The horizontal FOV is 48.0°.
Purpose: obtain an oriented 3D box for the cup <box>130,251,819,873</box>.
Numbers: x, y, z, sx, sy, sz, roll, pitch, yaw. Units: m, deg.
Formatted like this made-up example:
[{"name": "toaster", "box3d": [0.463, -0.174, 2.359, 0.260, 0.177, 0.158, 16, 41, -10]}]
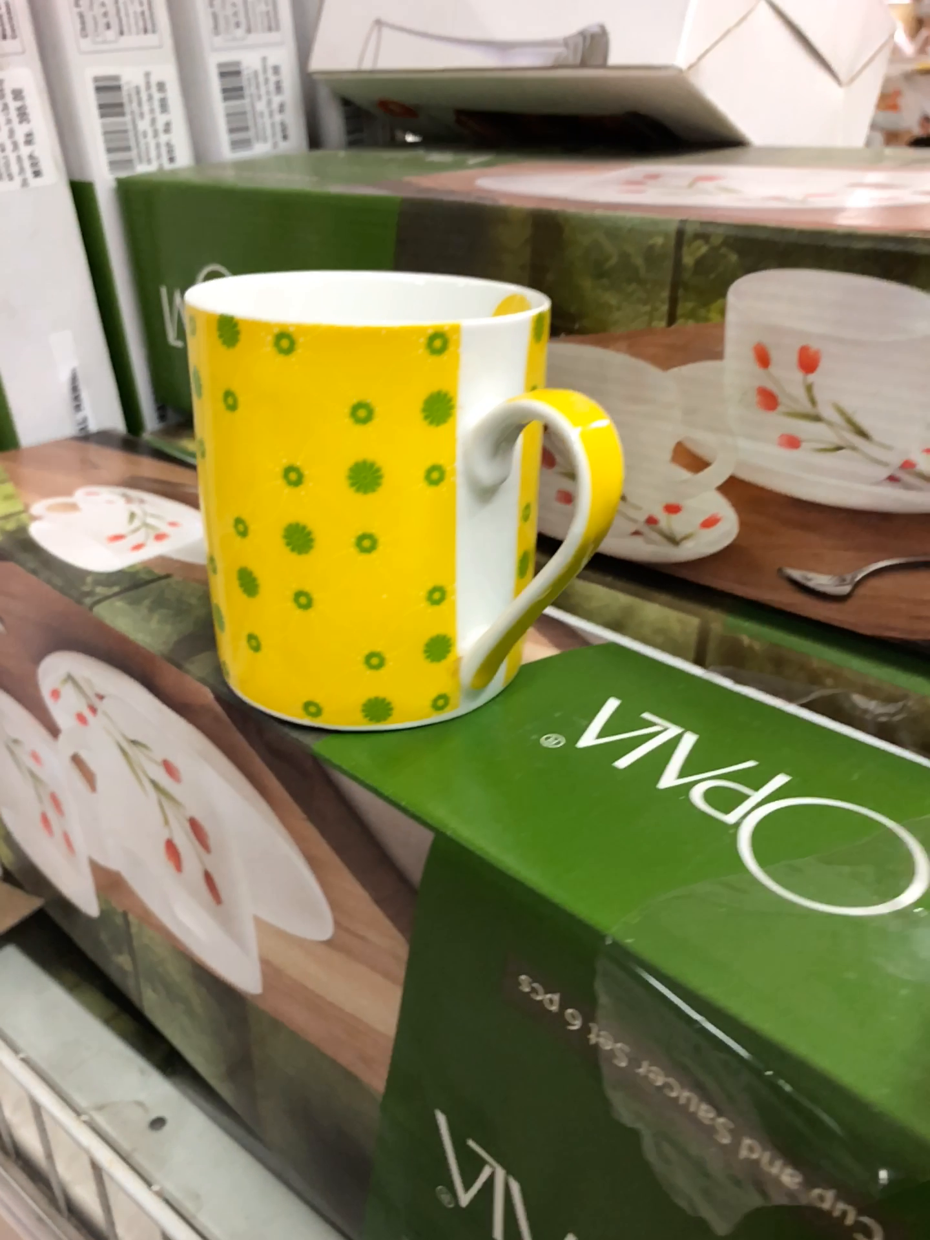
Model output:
[{"name": "cup", "box3d": [-0.002, -0.025, 0.222, 0.110, 0.089, 0.080, 22, 30, 38]}]
